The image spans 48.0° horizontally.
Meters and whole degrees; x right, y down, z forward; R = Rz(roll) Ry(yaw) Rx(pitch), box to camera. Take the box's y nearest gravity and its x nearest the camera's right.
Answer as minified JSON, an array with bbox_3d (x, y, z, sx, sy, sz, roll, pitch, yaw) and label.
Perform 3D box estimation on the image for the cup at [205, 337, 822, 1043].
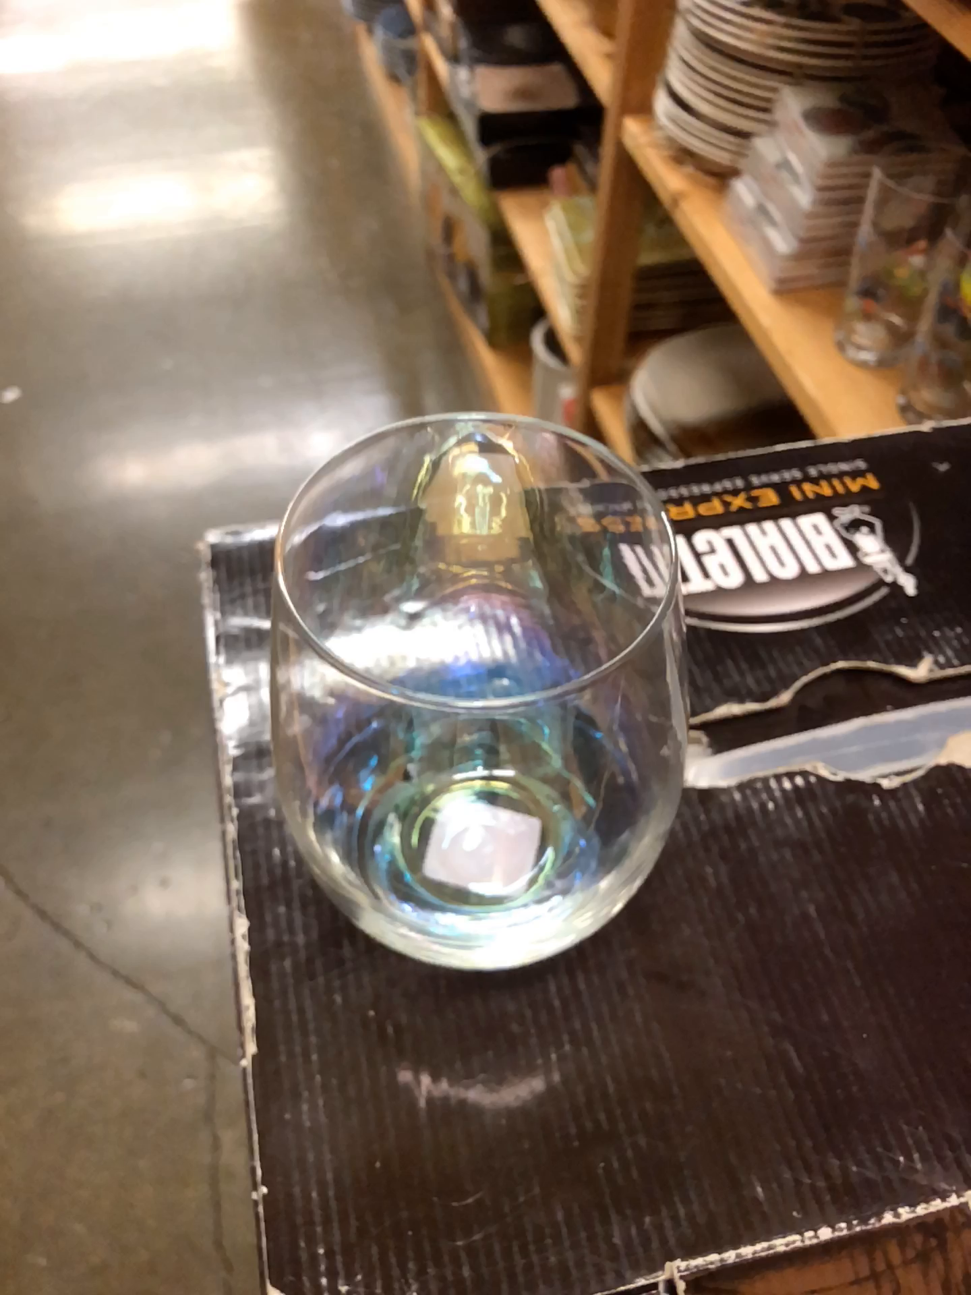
[{"bbox_3d":[-0.002,0.012,0.236,0.089,0.107,0.093,0,52,0],"label":"cup"}]
